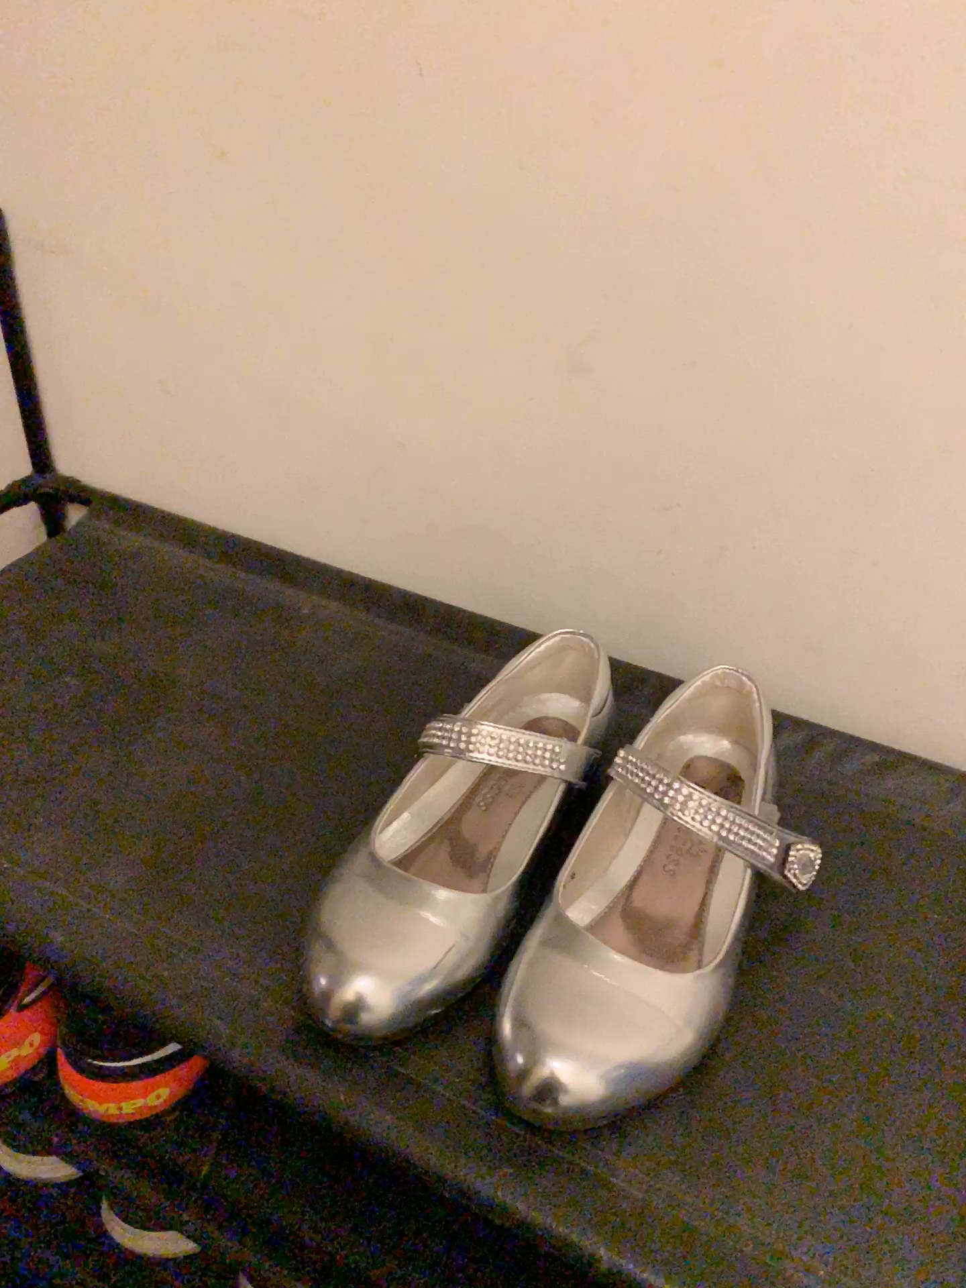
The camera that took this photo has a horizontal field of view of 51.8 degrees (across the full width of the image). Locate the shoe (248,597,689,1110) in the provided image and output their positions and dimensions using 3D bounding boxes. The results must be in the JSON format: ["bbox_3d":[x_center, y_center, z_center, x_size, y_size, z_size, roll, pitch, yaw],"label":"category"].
[{"bbox_3d":[0.006,0.070,0.409,0.090,0.089,0.181,16,37,27],"label":"shoe"}]

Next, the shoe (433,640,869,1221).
[{"bbox_3d":[0.071,0.091,0.377,0.090,0.089,0.181,16,37,27],"label":"shoe"}]
